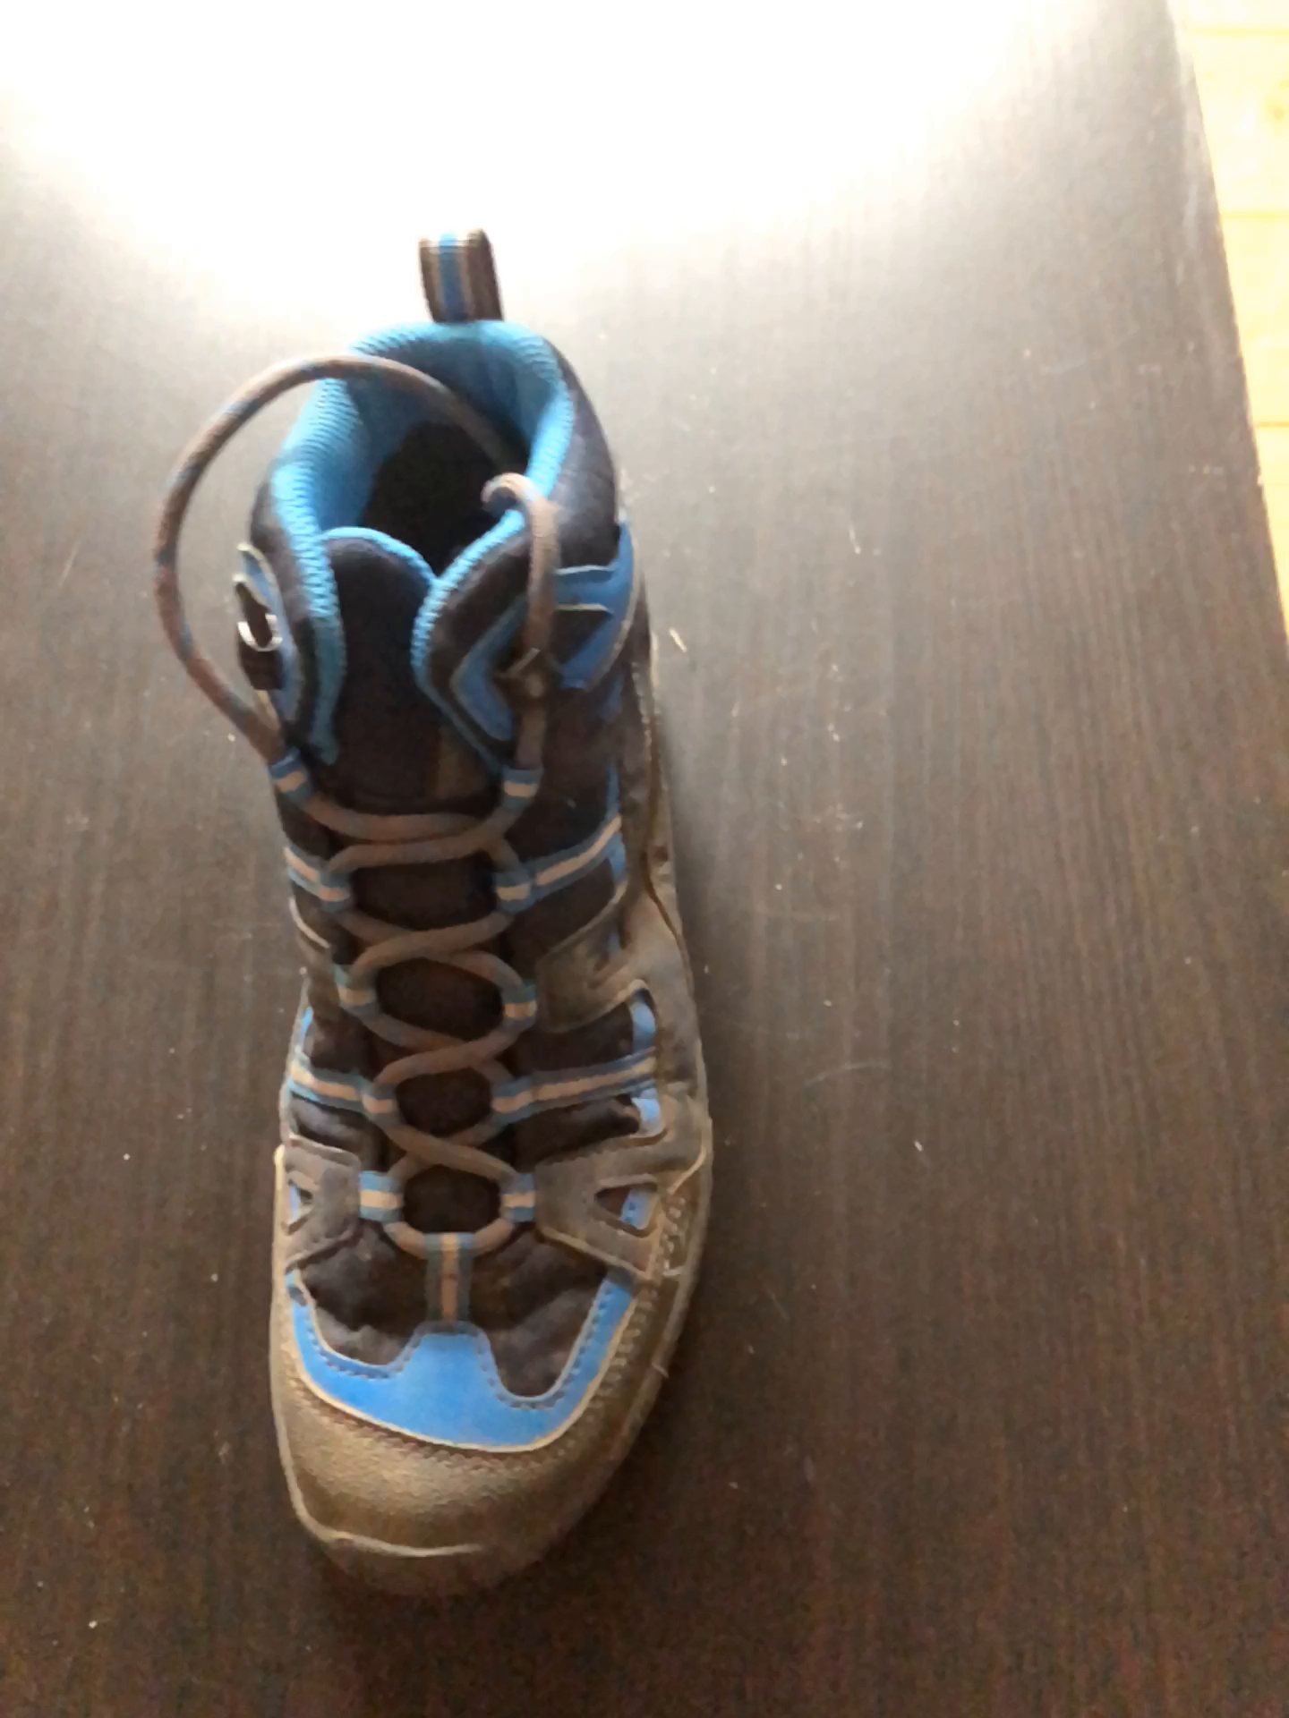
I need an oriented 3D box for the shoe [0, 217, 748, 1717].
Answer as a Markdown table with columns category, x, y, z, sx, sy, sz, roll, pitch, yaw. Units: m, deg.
| category | x | y | z | sx | sy | sz | roll | pitch | yaw |
| --- | --- | --- | --- | --- | --- | --- | --- | --- | --- |
| shoe | -0.033 | 0.015 | 0.288 | 0.100 | 0.120 | 0.251 | 1 | 69 | 2 |
